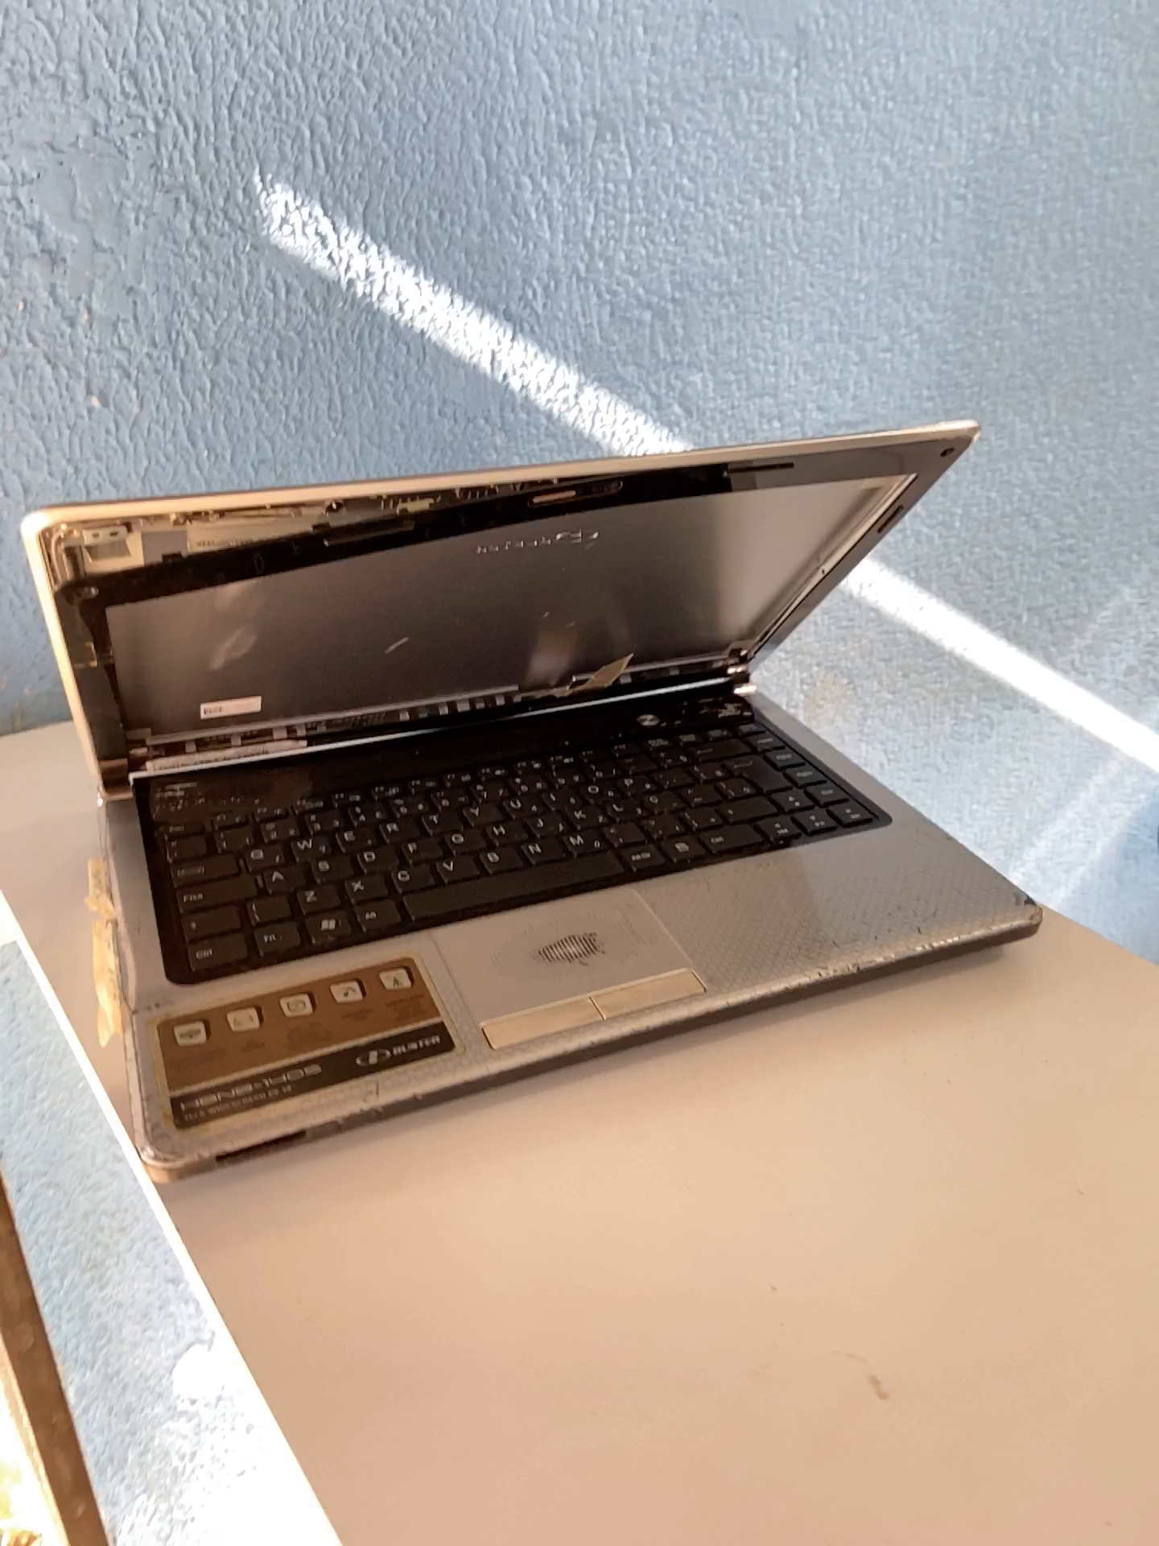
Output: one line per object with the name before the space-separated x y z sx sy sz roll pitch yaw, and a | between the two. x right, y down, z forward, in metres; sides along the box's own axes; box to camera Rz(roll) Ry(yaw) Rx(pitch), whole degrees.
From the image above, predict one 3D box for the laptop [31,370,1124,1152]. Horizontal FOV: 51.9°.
laptop | -0.018 -0.043 0.459 0.326 0.160 0.233 -10 30 -20
